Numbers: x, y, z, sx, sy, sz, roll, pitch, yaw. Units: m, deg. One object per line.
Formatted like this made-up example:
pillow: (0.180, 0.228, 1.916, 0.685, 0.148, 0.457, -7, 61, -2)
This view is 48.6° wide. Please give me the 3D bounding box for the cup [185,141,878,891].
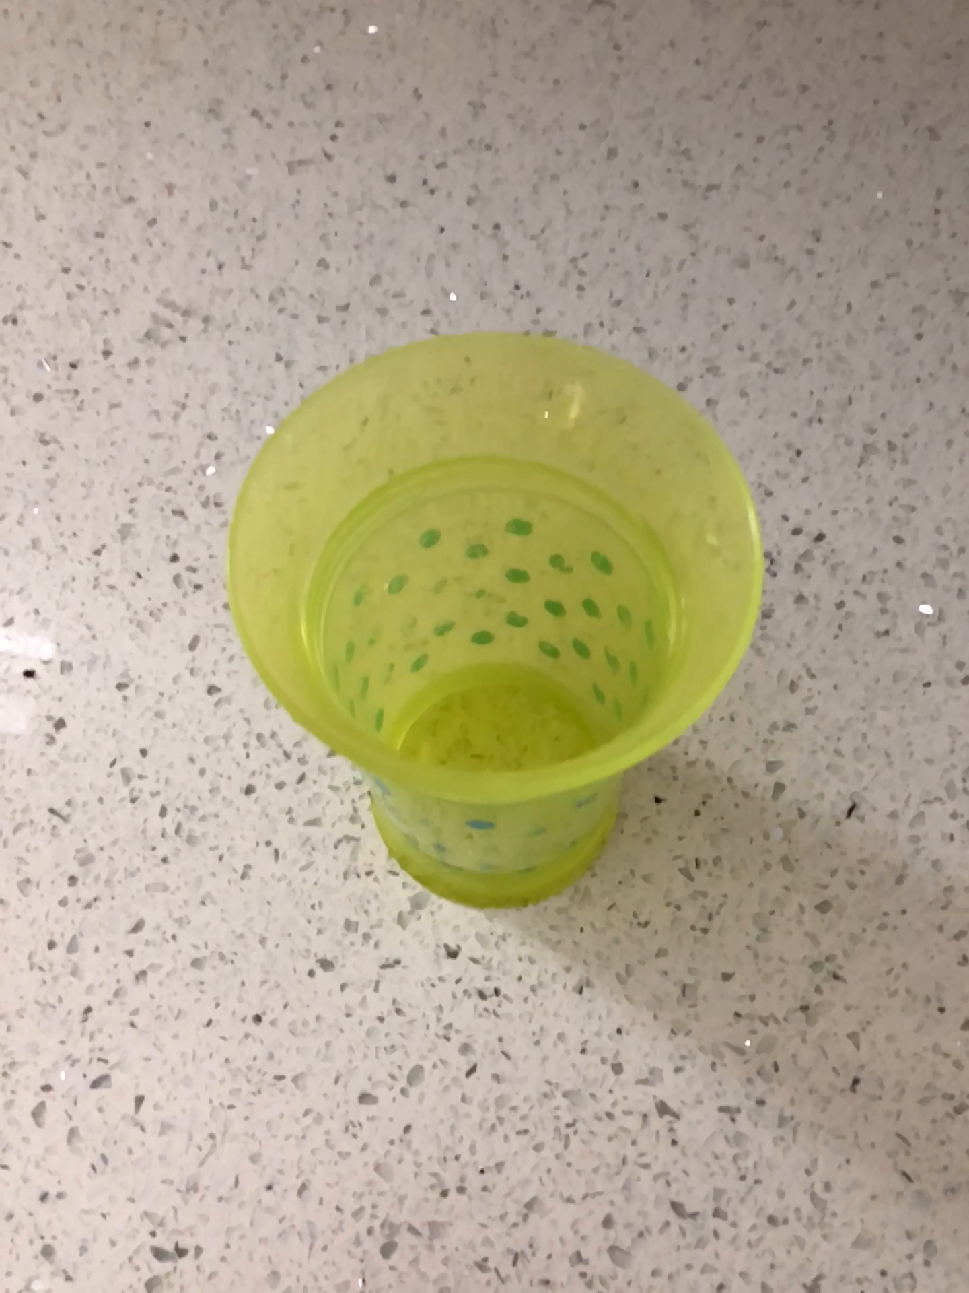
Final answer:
cup: (0.009, -0.016, 0.209, 0.078, 0.109, 0.073, 0, 64, 1)
